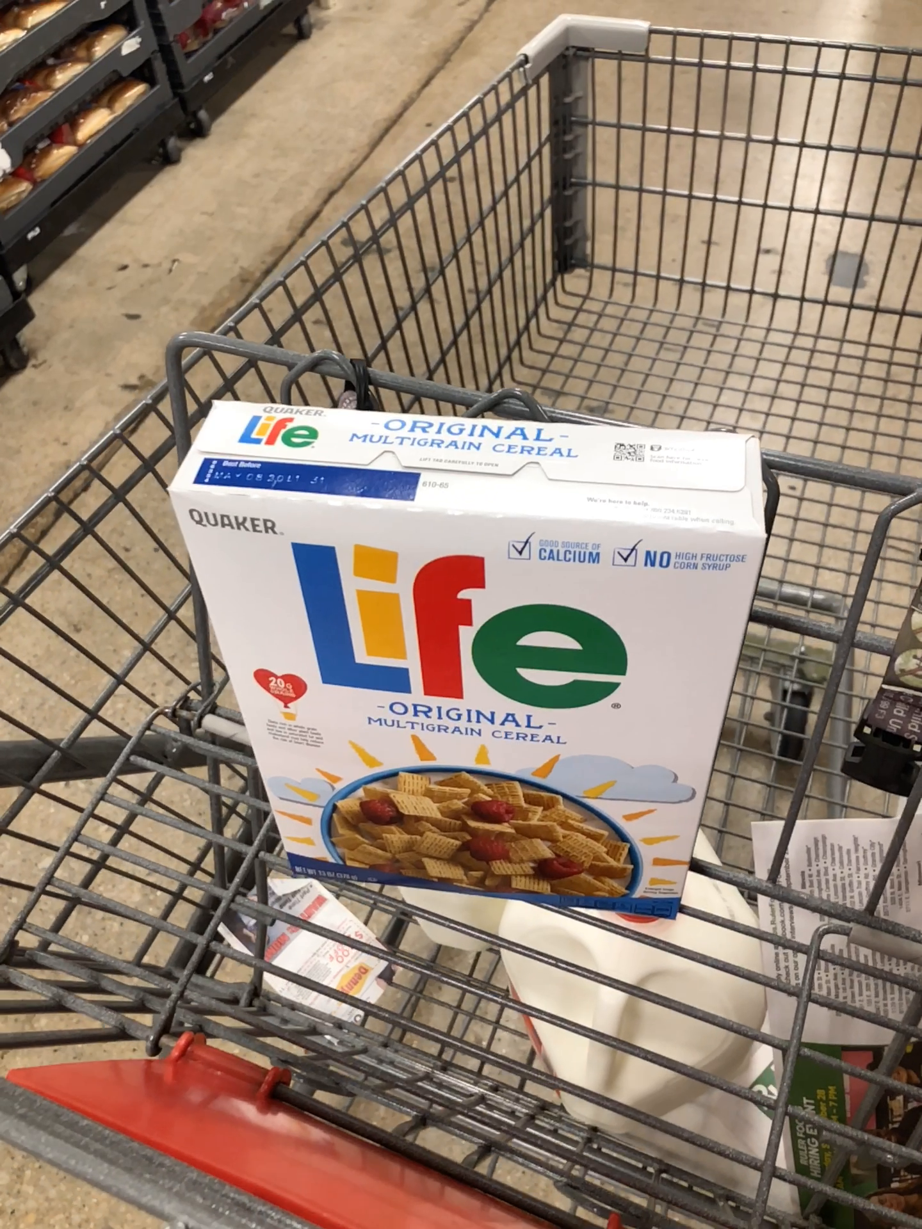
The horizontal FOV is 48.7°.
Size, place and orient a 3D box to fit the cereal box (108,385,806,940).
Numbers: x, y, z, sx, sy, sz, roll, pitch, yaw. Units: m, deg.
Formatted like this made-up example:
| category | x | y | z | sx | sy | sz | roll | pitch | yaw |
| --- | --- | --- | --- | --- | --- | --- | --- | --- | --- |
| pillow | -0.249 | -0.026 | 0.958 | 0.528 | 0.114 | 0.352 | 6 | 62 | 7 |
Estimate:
| category | x | y | z | sx | sy | sz | roll | pitch | yaw |
| --- | --- | --- | --- | --- | --- | --- | --- | --- | --- |
| cereal box | 0.004 | 0.033 | 0.391 | 0.200 | 0.240 | 0.050 | 6 | 48 | 9 |
